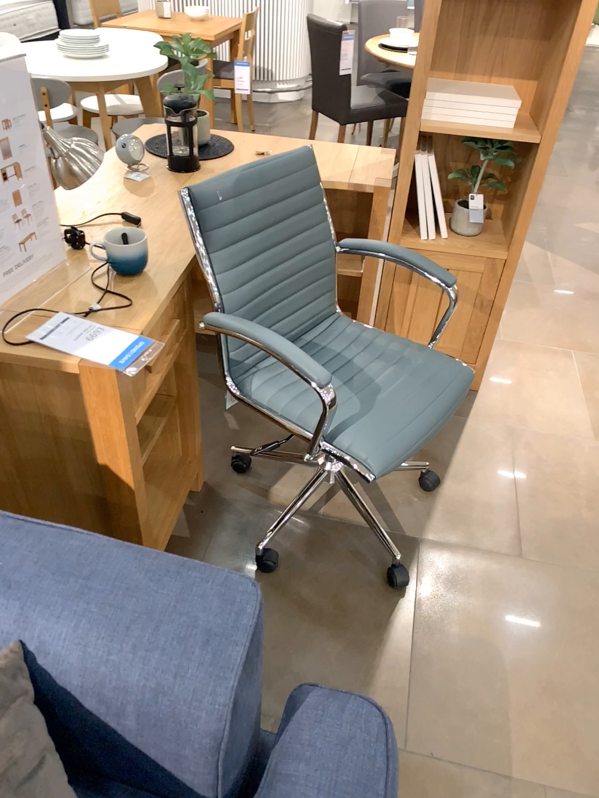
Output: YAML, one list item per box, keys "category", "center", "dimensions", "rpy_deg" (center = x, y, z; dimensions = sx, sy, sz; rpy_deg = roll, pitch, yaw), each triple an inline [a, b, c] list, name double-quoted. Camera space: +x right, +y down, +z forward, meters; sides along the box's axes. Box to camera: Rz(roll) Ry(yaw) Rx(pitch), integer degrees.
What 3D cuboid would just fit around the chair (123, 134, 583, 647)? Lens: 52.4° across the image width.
- category: "chair"
  center: [0.106, -0.065, 1.537]
  dimensions: [0.709, 0.883, 0.668]
  rpy_deg: [28, 44, 27]
